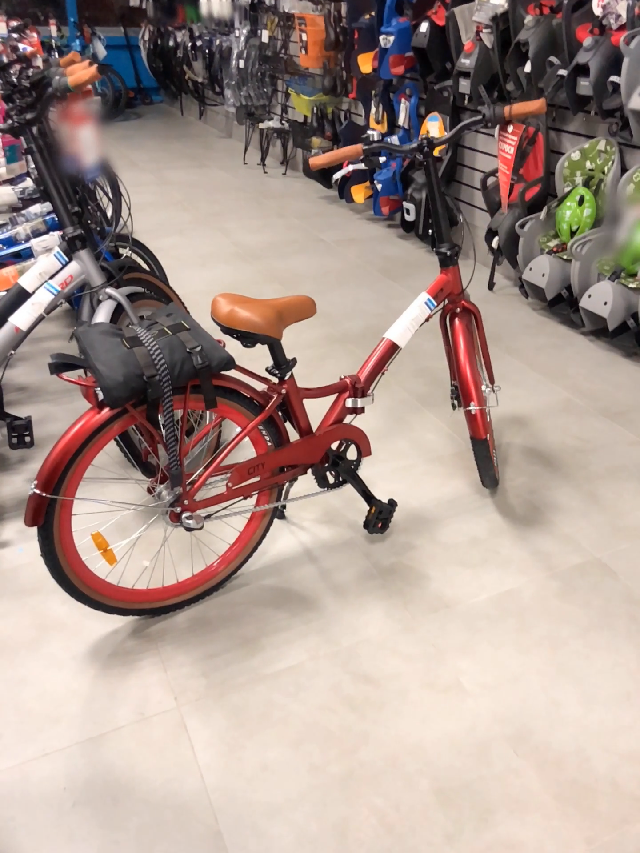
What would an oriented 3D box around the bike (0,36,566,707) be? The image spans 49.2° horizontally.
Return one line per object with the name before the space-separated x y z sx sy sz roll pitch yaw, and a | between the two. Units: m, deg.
bike | -0.062 -0.306 1.824 0.518 1.110 1.498 27 42 37
